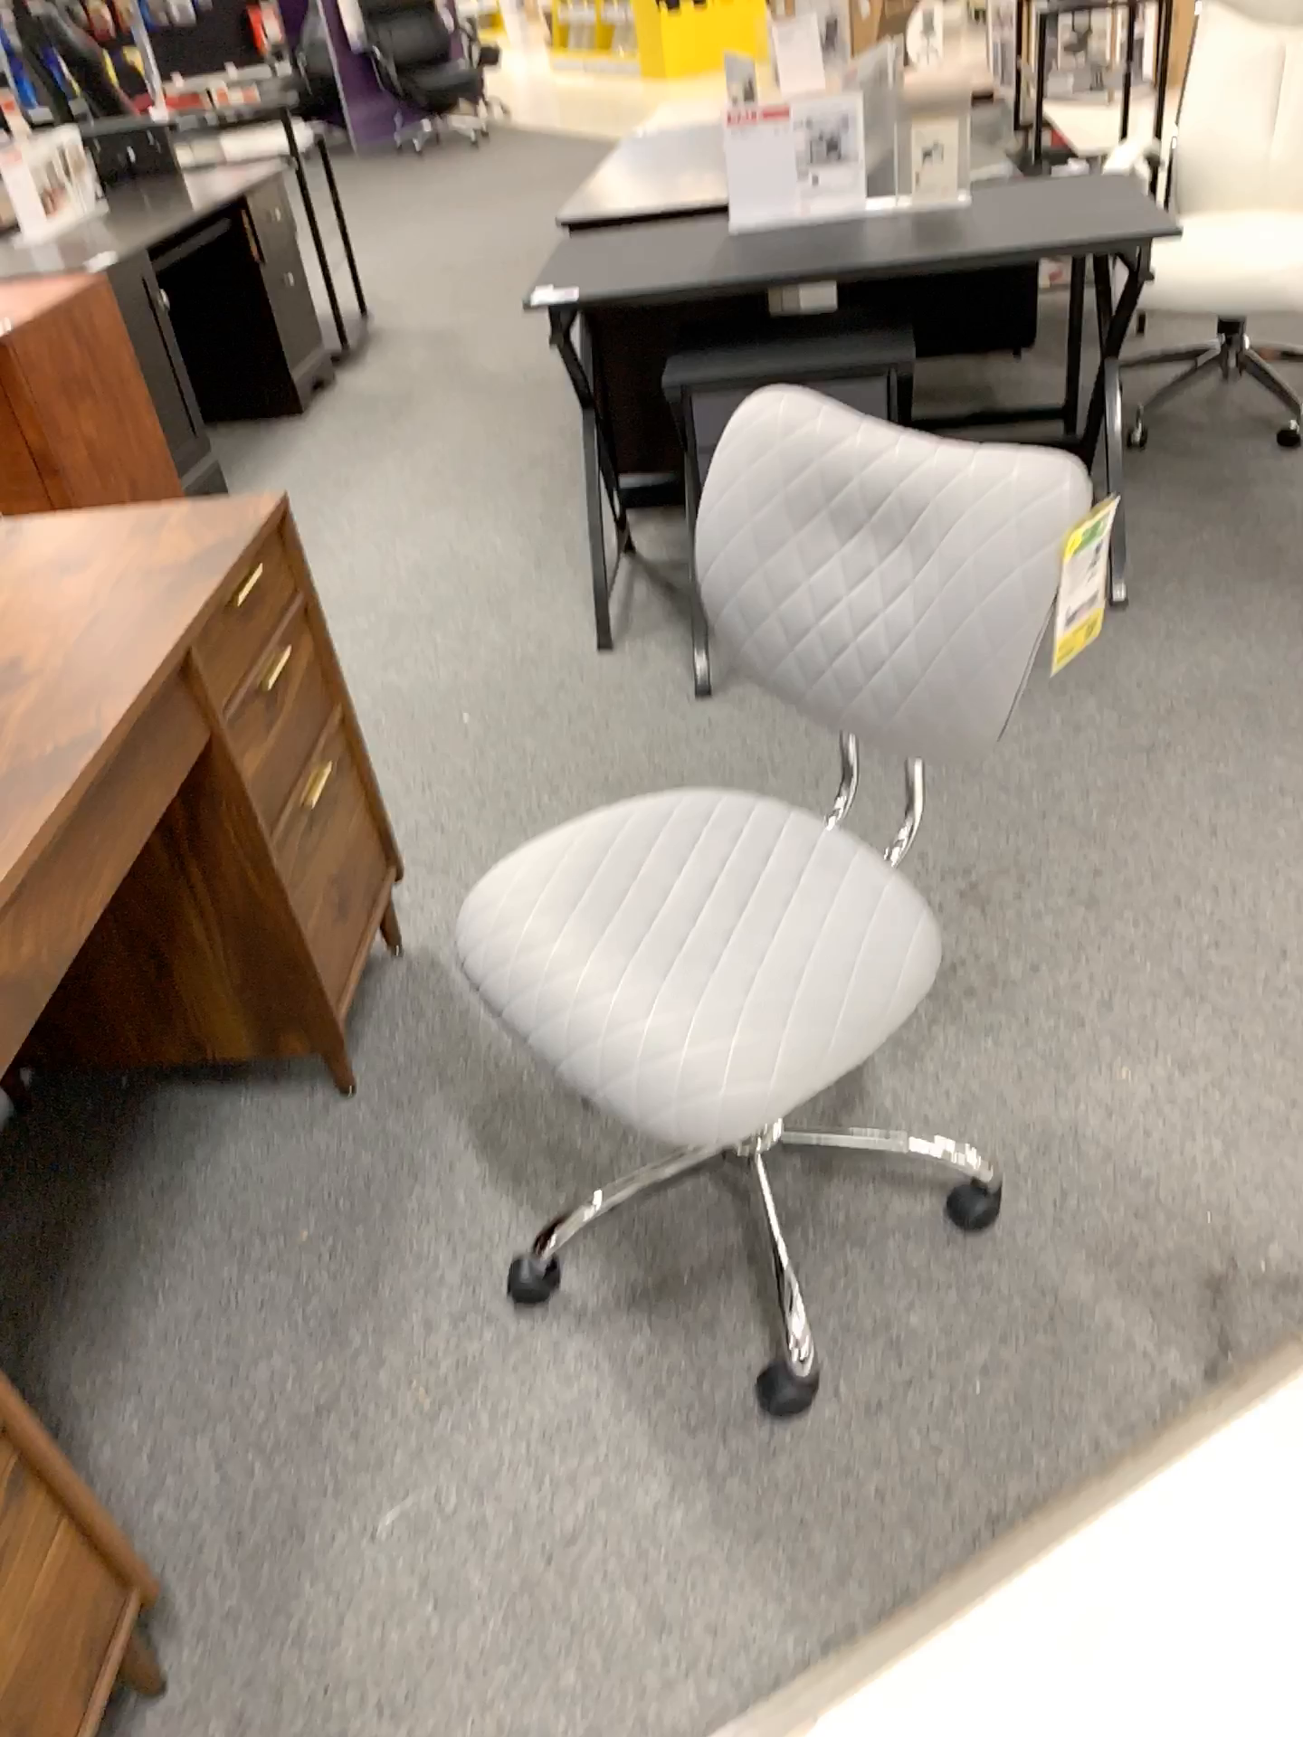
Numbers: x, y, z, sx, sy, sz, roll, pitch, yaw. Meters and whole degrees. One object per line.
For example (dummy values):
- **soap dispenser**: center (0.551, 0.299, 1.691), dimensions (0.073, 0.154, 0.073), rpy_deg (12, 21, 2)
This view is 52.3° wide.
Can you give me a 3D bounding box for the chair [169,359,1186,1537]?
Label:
- **chair**: center (0.050, 0.042, 1.413), dimensions (0.641, 0.875, 0.632), rpy_deg (-30, 41, -25)
